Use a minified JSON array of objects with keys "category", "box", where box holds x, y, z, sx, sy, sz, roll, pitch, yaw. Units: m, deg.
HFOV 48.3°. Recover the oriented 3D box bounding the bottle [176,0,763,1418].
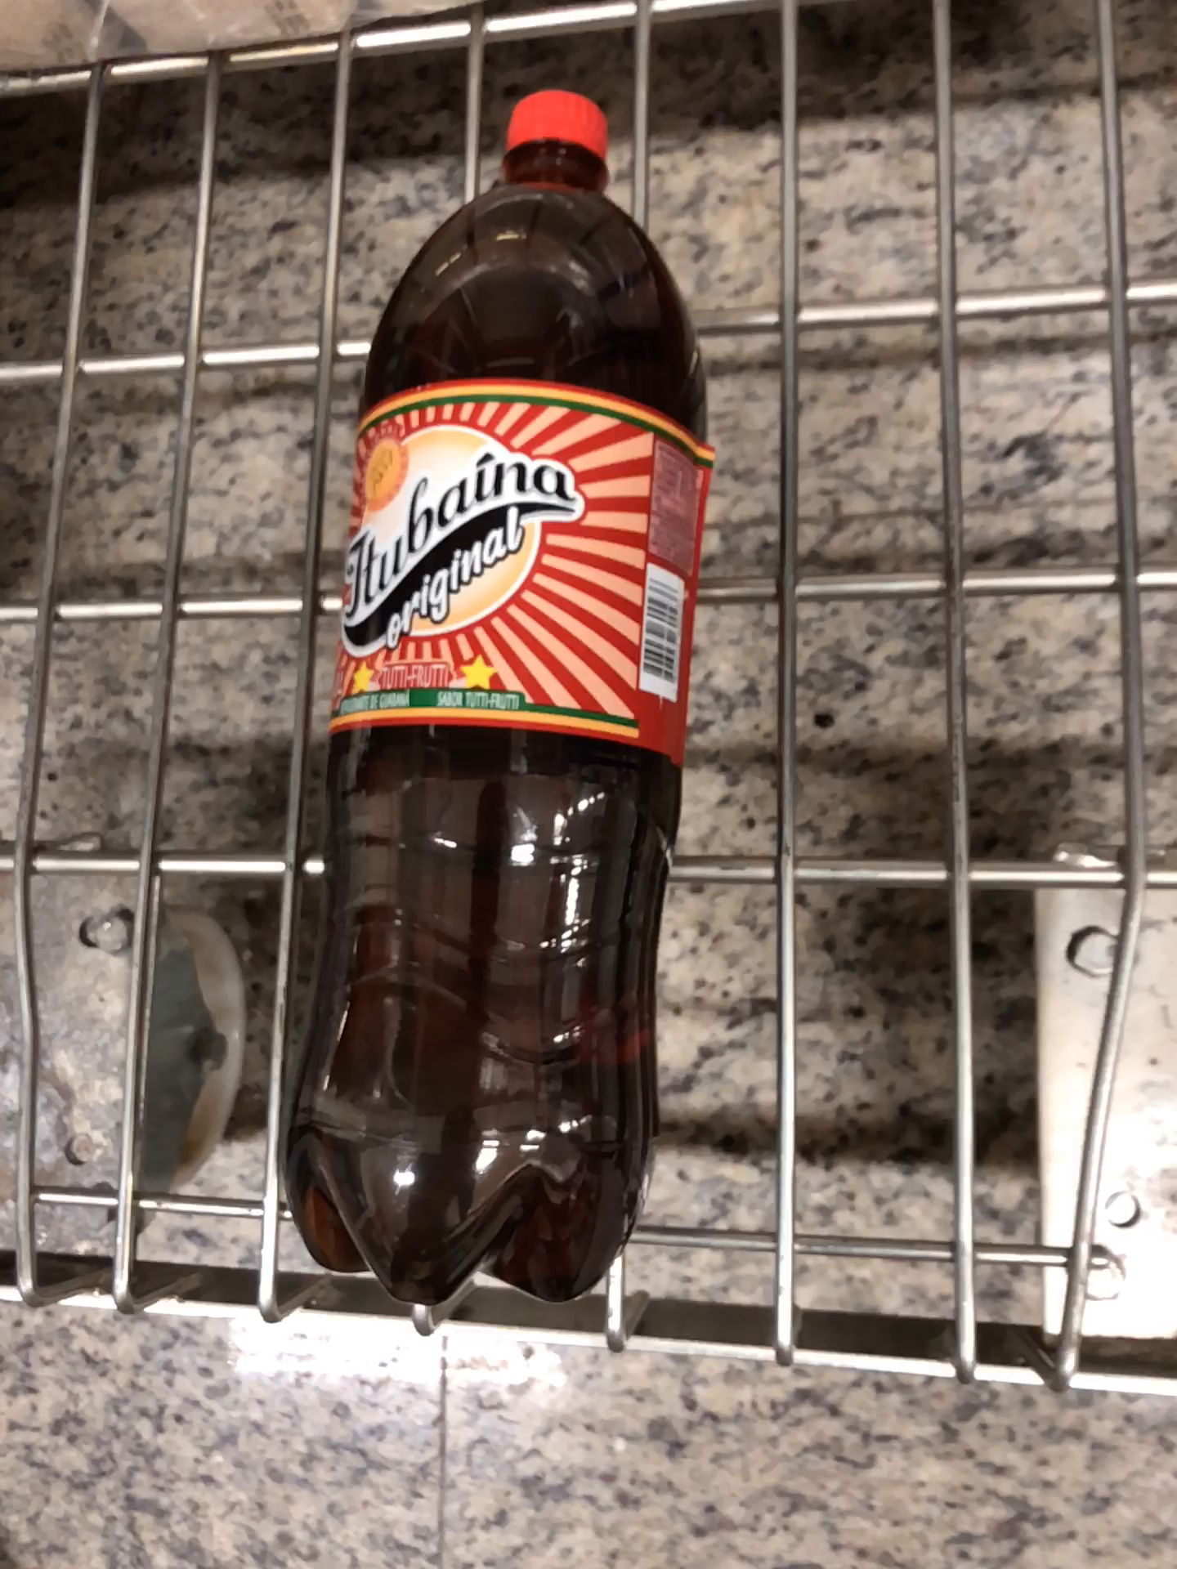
[{"category":"bottle","box":[-0.022,-0.026,0.335,0.110,0.070,0.320,3,85,12]}]
